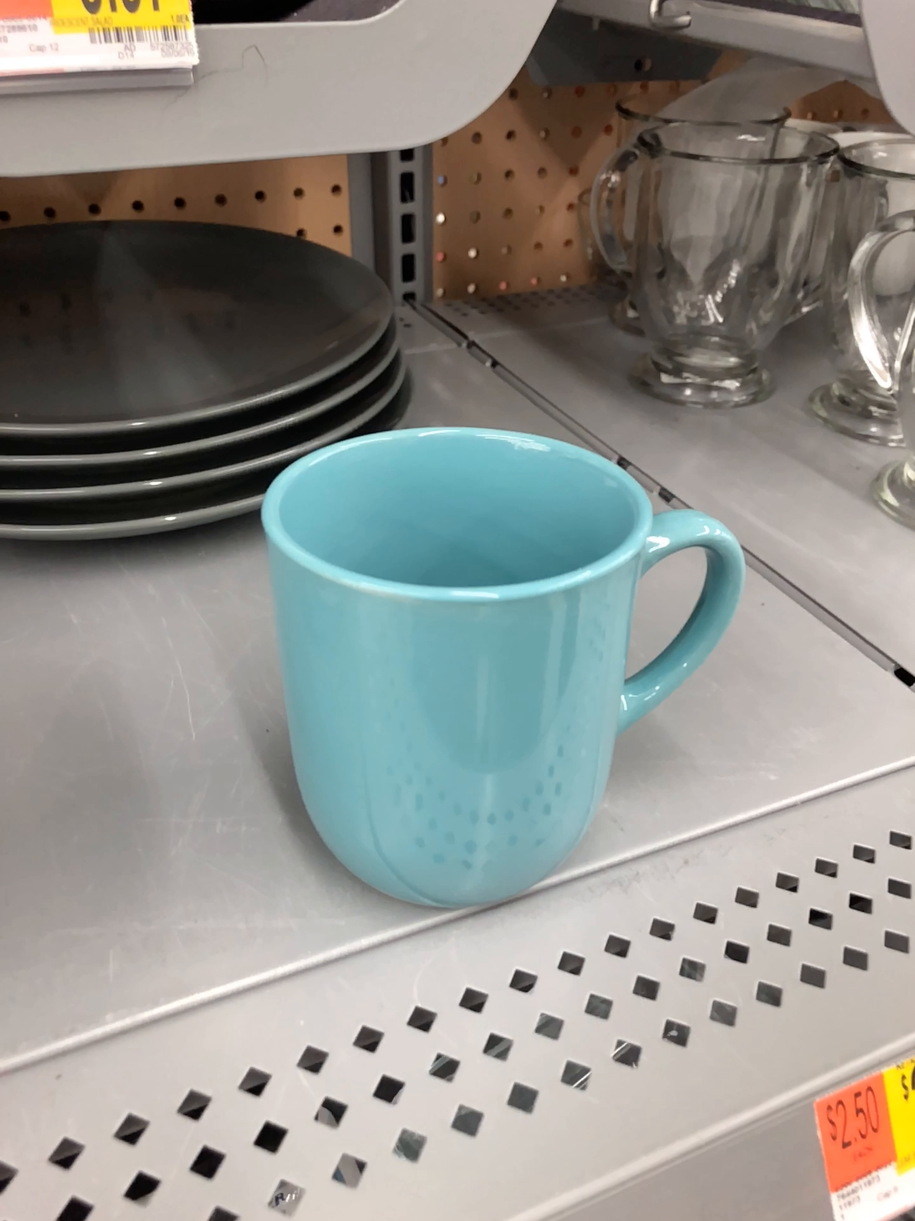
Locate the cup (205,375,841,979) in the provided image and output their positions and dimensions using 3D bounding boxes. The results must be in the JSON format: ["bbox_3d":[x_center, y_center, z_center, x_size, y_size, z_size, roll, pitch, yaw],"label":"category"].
[{"bbox_3d":[0.010,0.007,0.255,0.114,0.091,0.091,-14,36,-22],"label":"cup"}]
